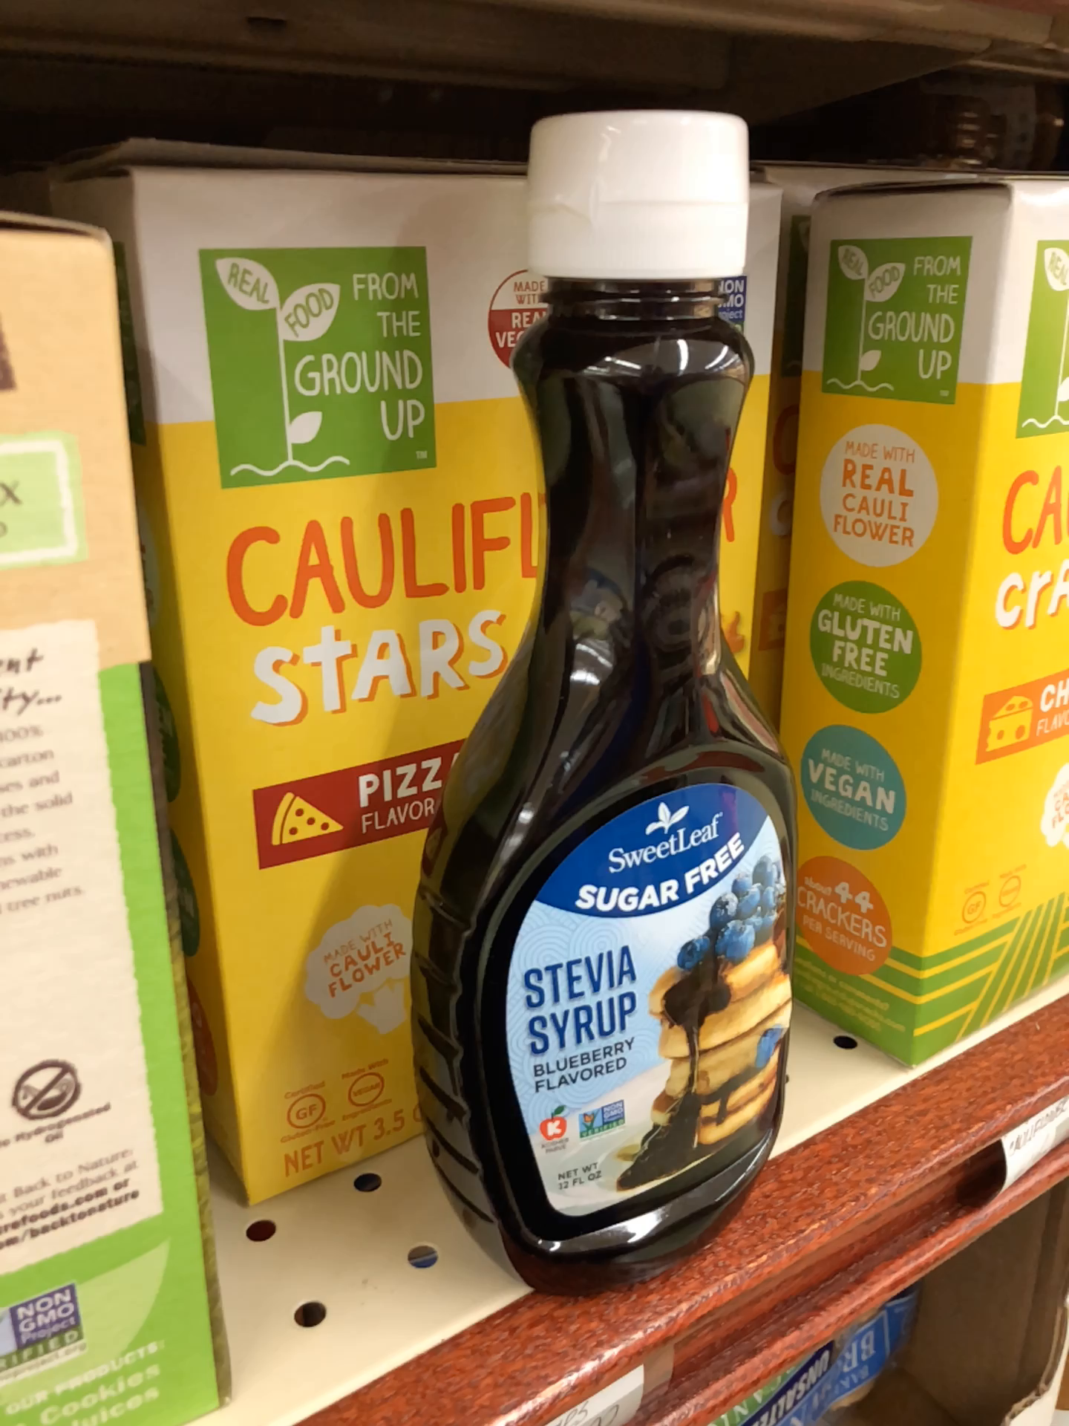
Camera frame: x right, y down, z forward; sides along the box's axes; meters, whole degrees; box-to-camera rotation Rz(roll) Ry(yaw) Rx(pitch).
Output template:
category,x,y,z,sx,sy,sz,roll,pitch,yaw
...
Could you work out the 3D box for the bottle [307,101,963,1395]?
category,x,y,z,sx,sy,sz,roll,pitch,yaw
bottle,0.012,0.009,0.209,0.080,0.199,0.050,-12,25,-29
